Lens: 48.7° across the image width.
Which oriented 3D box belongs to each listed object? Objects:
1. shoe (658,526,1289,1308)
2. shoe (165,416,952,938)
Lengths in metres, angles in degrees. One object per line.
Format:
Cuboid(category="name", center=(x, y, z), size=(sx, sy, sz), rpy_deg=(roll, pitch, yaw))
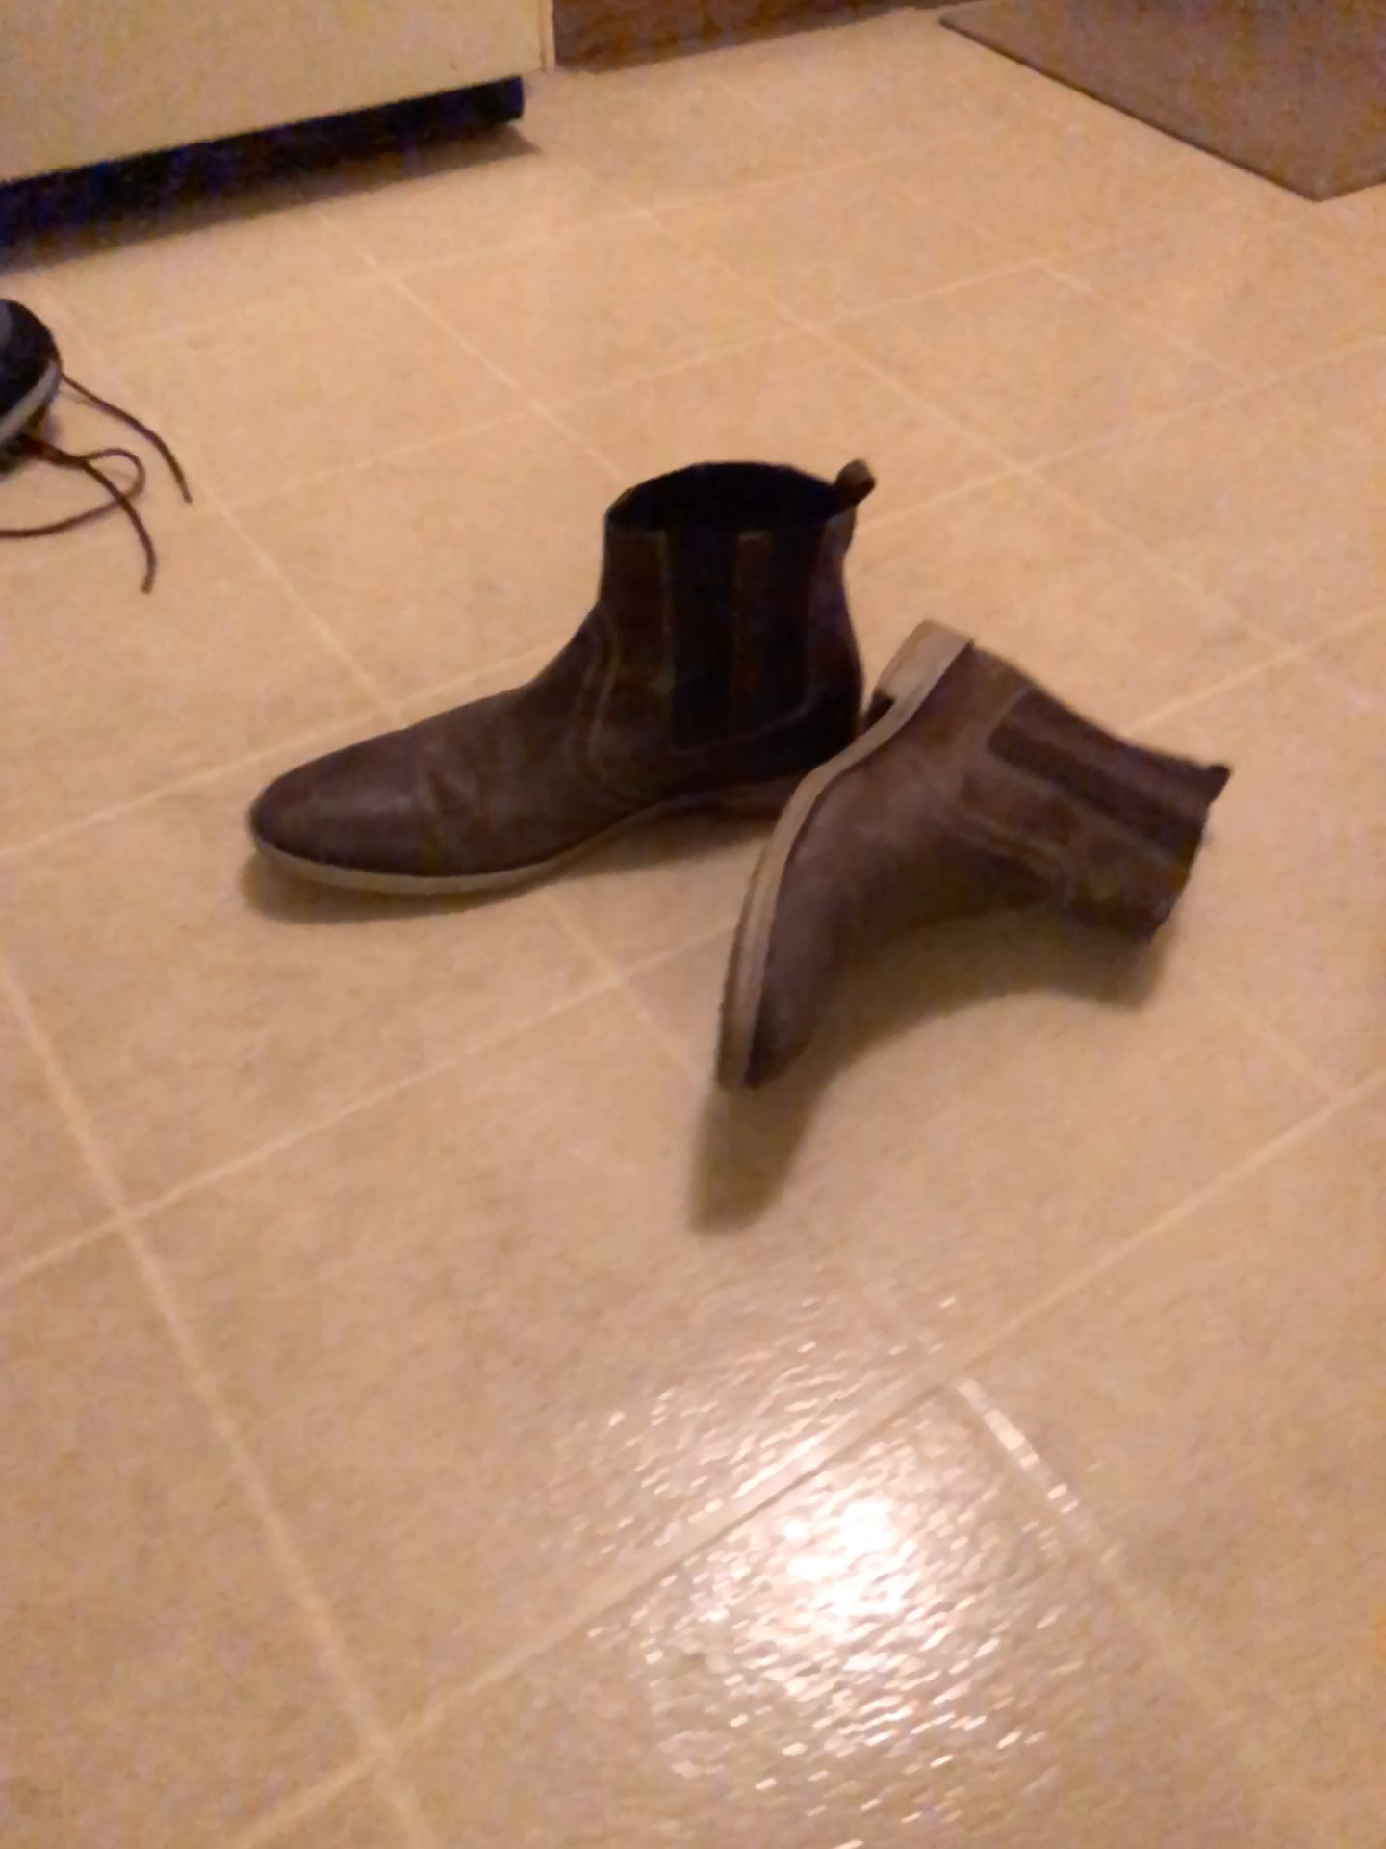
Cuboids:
Cuboid(category="shoe", center=(0.128, -0.023, 0.658), size=(0.161, 0.110, 0.315), rpy_deg=(21, 50, 15))
Cuboid(category="shoe", center=(-0.061, -0.114, 0.699), size=(0.313, 0.160, 0.112), rpy_deg=(-10, 48, -11))
